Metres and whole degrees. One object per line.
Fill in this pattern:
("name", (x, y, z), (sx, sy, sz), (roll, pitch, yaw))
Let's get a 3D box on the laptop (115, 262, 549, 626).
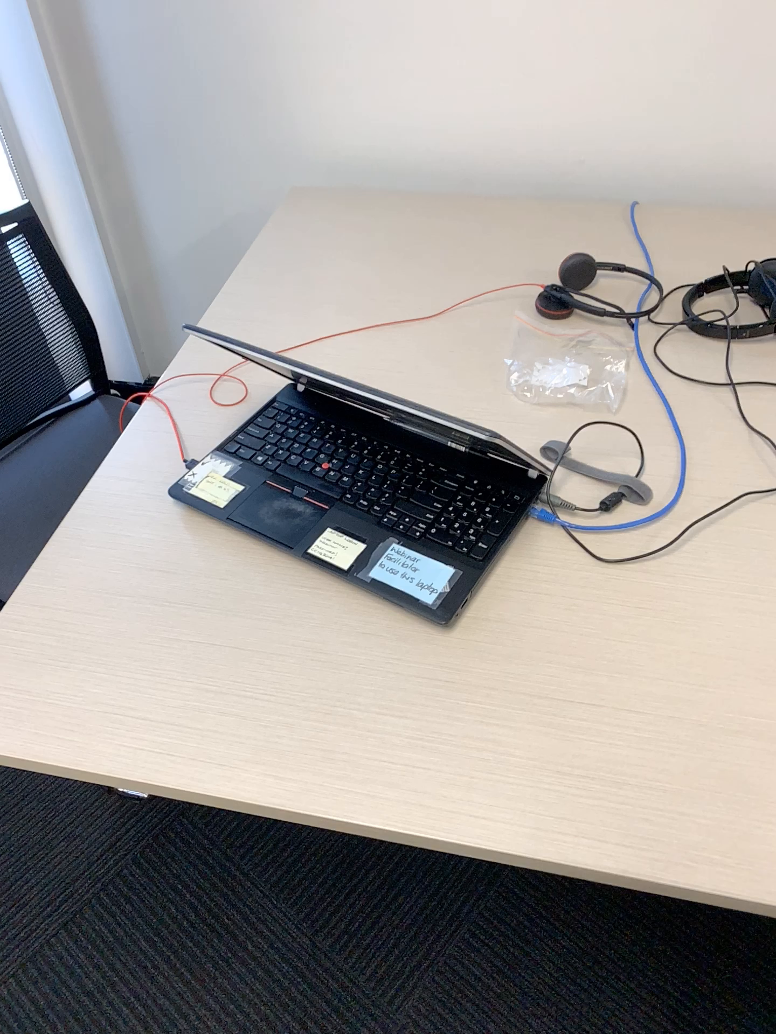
("laptop", (-0.044, -0.090, 0.752), (0.326, 0.157, 0.227), (23, 48, 25))
